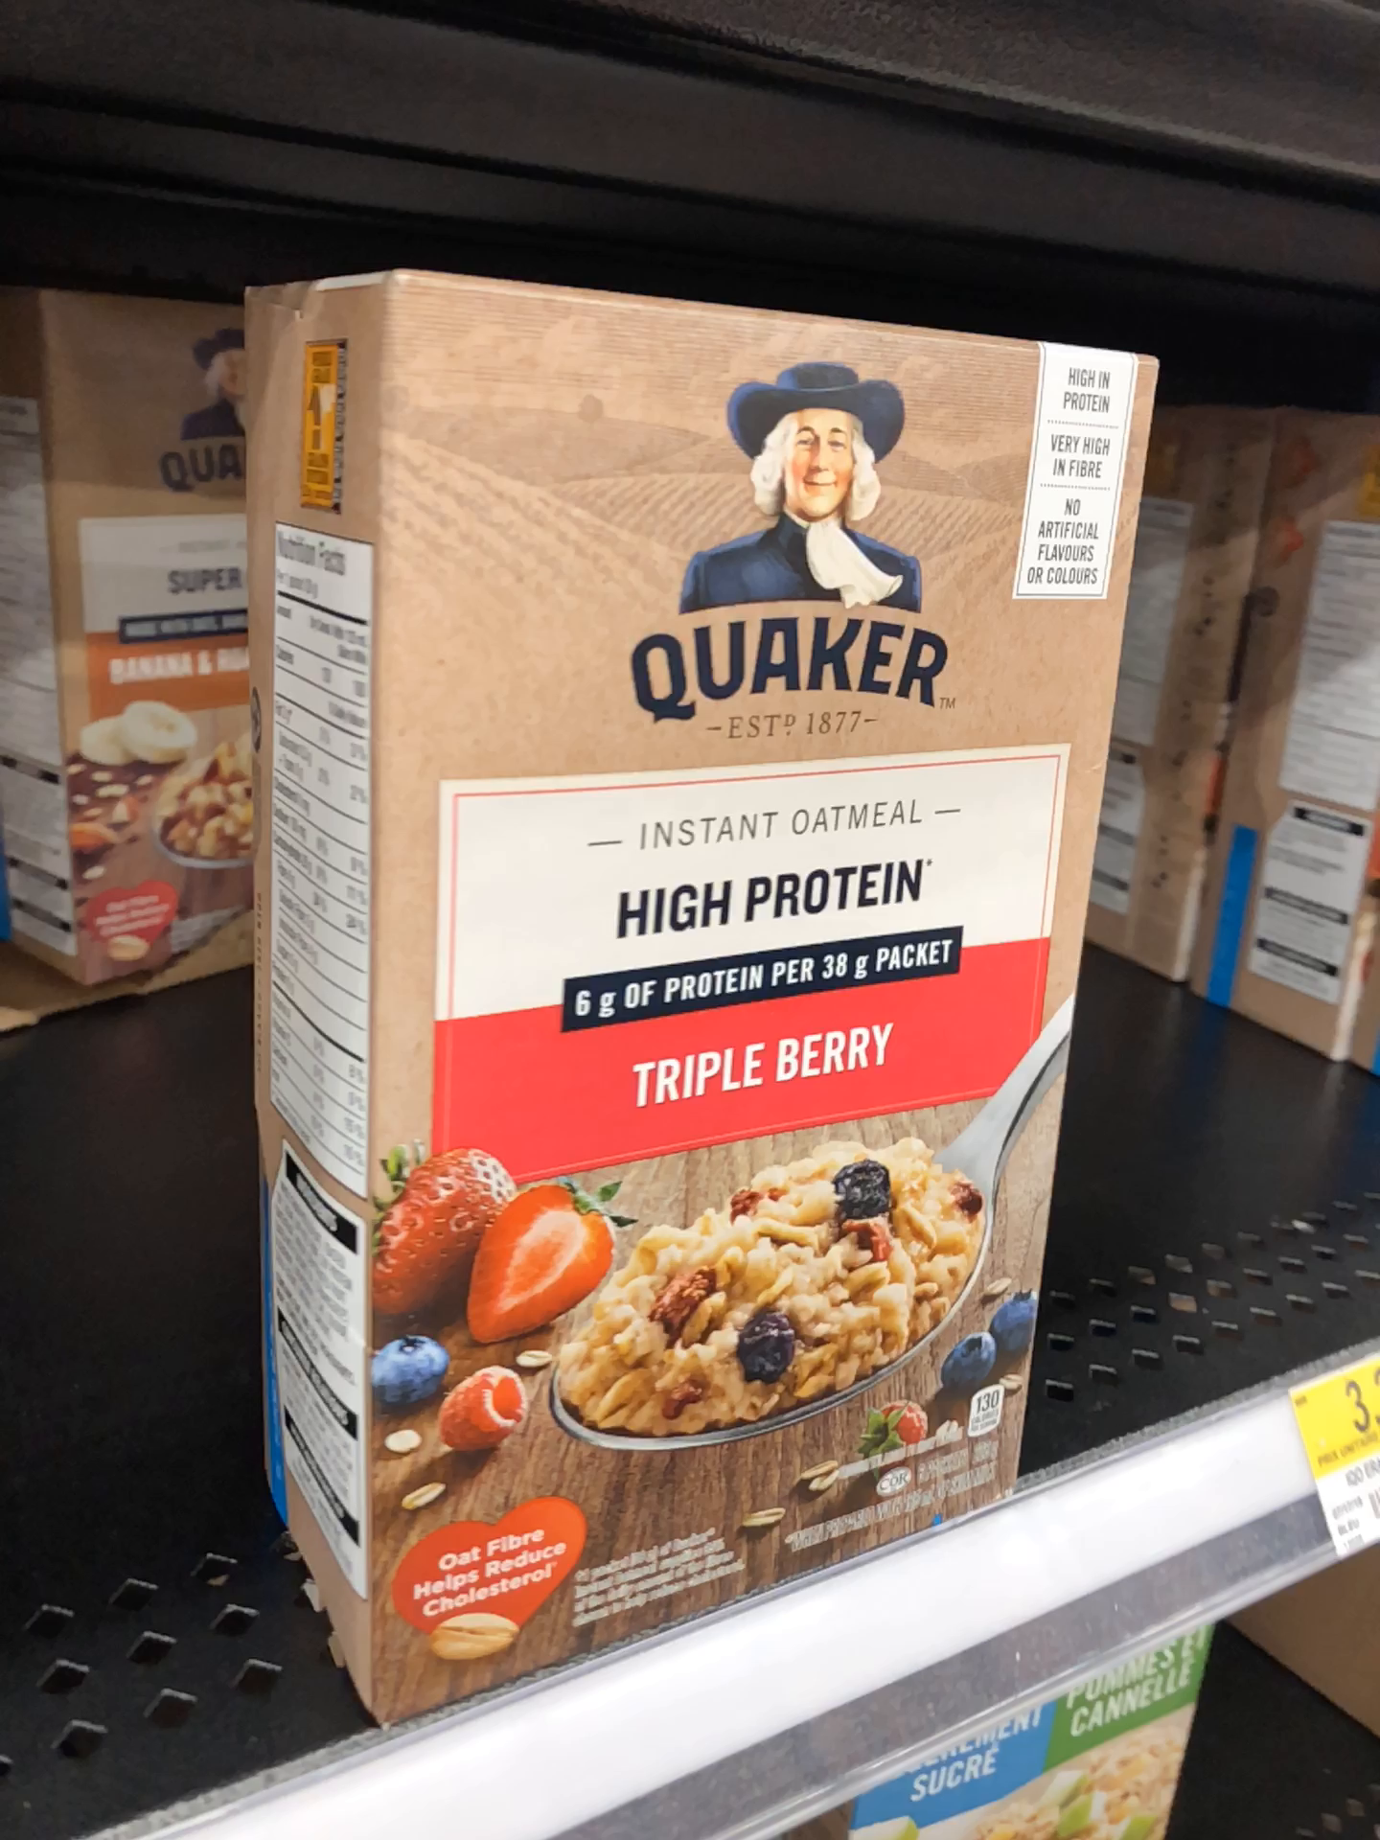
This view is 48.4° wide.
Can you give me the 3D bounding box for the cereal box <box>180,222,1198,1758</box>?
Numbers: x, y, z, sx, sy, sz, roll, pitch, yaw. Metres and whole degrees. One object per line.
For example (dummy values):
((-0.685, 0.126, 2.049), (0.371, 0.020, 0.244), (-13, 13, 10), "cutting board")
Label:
((-0.004, 0.006, 0.250), (0.130, 0.199, 0.070), (-7, 19, -29), "cereal box")
